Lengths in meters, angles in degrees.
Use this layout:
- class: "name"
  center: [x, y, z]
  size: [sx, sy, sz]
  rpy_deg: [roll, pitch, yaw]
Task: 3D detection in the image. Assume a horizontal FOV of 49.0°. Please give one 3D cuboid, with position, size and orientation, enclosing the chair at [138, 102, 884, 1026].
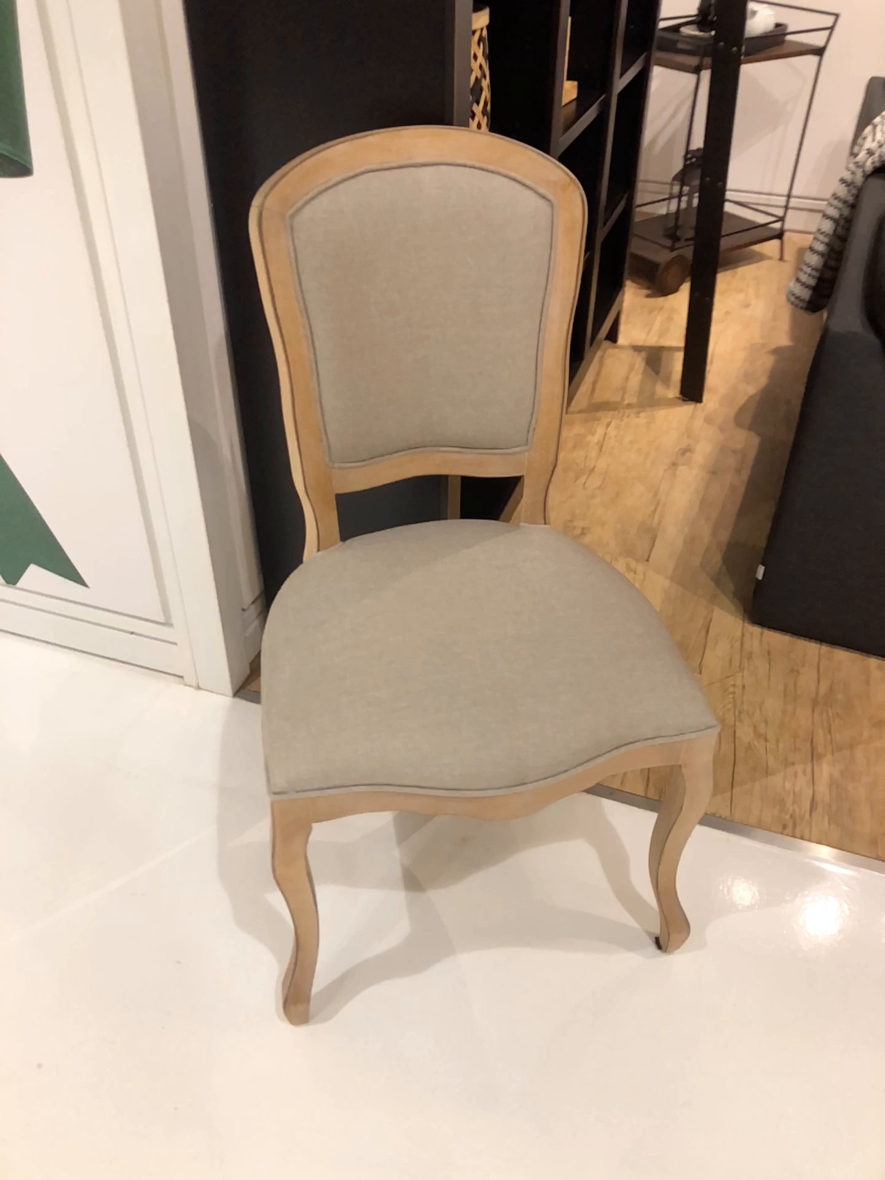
- class: "chair"
  center: [0.034, -0.033, 1.155]
  size: [0.600, 0.873, 0.554]
  rpy_deg: [-7, 38, -10]
